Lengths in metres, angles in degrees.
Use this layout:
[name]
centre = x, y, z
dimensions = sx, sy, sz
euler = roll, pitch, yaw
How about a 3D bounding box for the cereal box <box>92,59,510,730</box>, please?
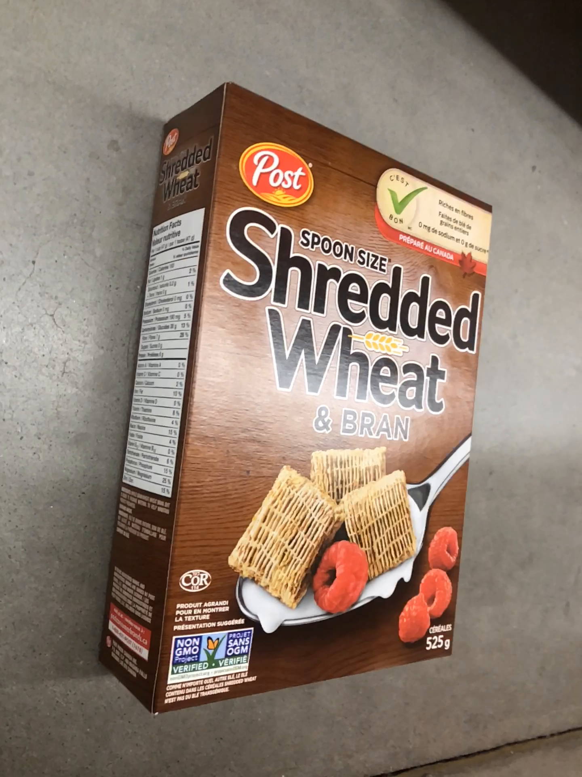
[cereal box]
centre = 0.018, 0.010, 0.355
dimensions = 0.201, 0.070, 0.280
euler = 8, 86, -37
